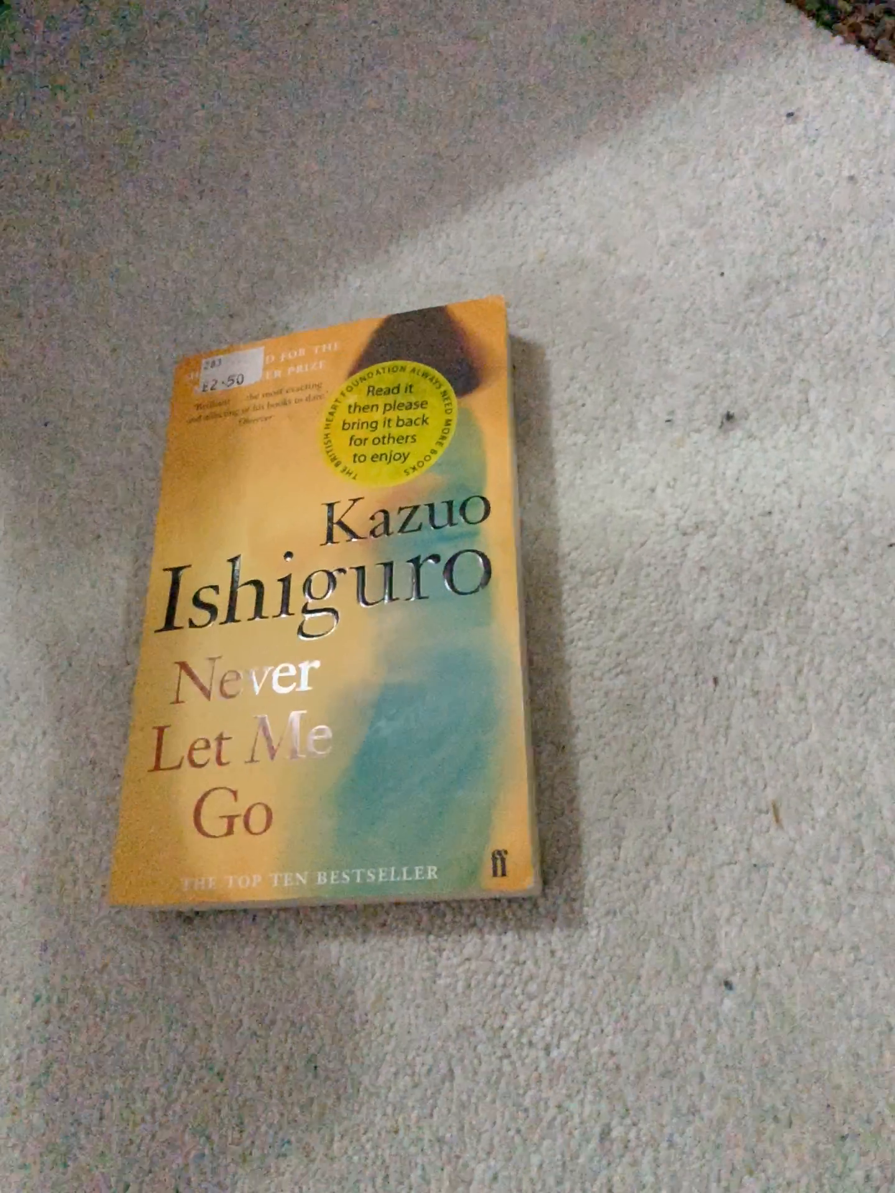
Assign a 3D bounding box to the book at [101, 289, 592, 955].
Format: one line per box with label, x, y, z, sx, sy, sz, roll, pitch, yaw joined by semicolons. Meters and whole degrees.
book;-0.032;0.003;0.302;0.140;0.020;0.211;-7;66;14
